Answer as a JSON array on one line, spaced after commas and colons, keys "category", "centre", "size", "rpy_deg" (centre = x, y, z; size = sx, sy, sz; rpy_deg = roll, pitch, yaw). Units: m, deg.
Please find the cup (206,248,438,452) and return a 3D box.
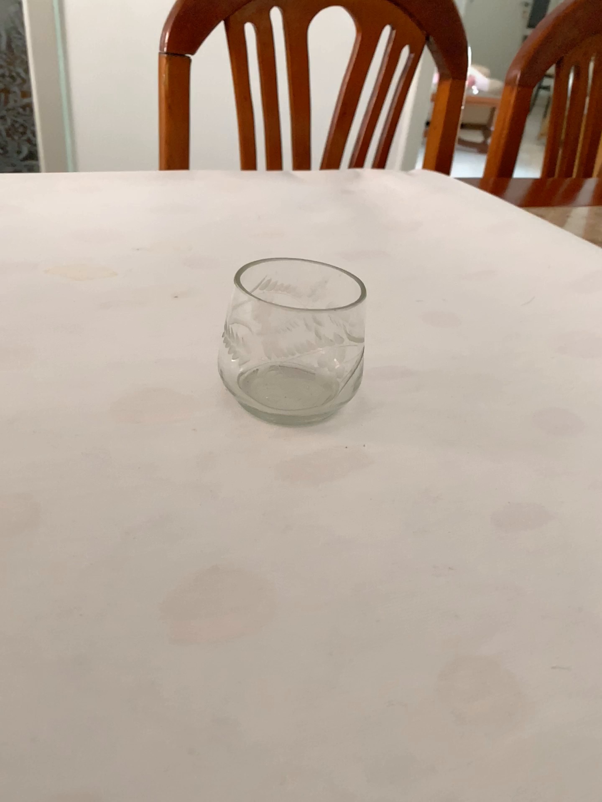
[{"category": "cup", "centre": [0.004, -0.029, 0.303], "size": [0.080, 0.060, 0.080], "rpy_deg": [5, 33, -3]}]
